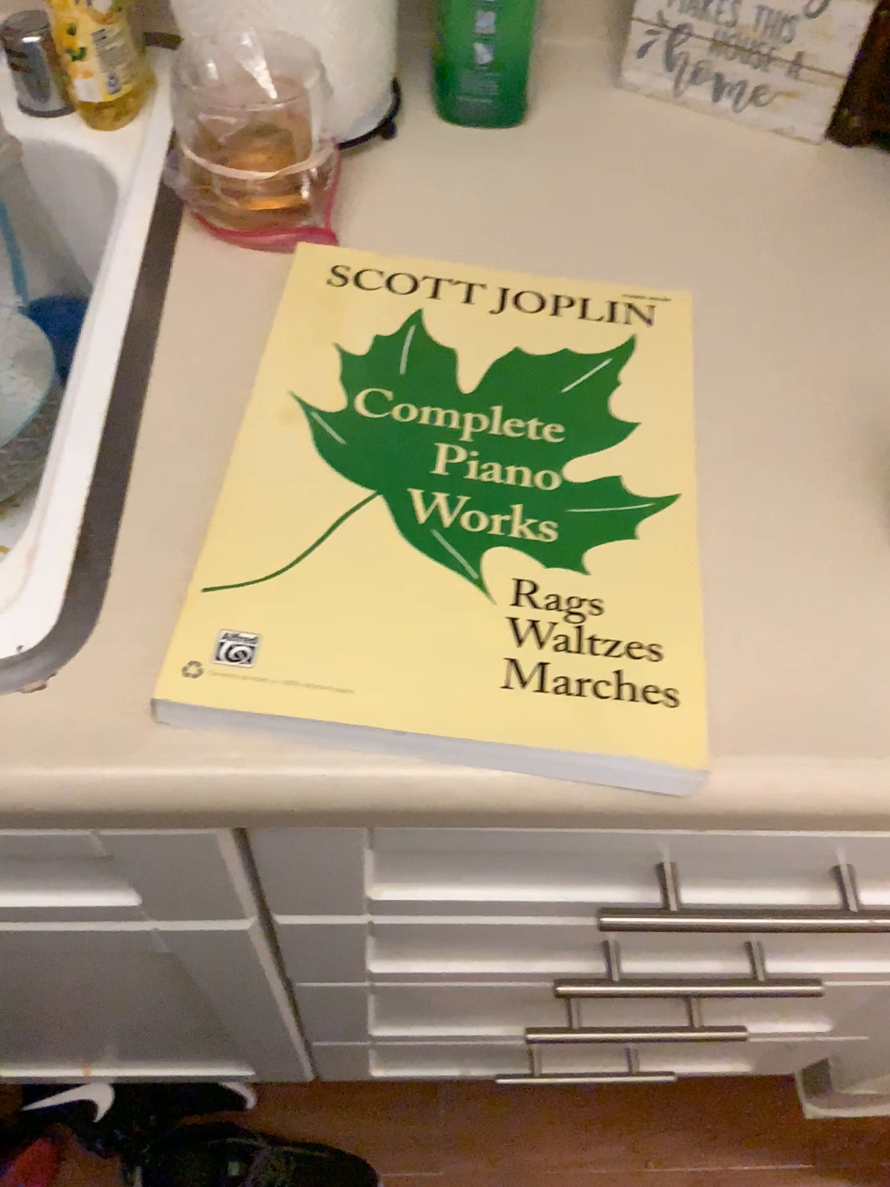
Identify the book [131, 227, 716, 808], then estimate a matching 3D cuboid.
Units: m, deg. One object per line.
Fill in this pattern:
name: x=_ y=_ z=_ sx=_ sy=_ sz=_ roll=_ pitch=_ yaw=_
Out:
book: x=0.009 y=-0.063 z=0.507 sx=0.240 sy=0.030 sz=0.320 roll=8 pitch=55 yaw=1
